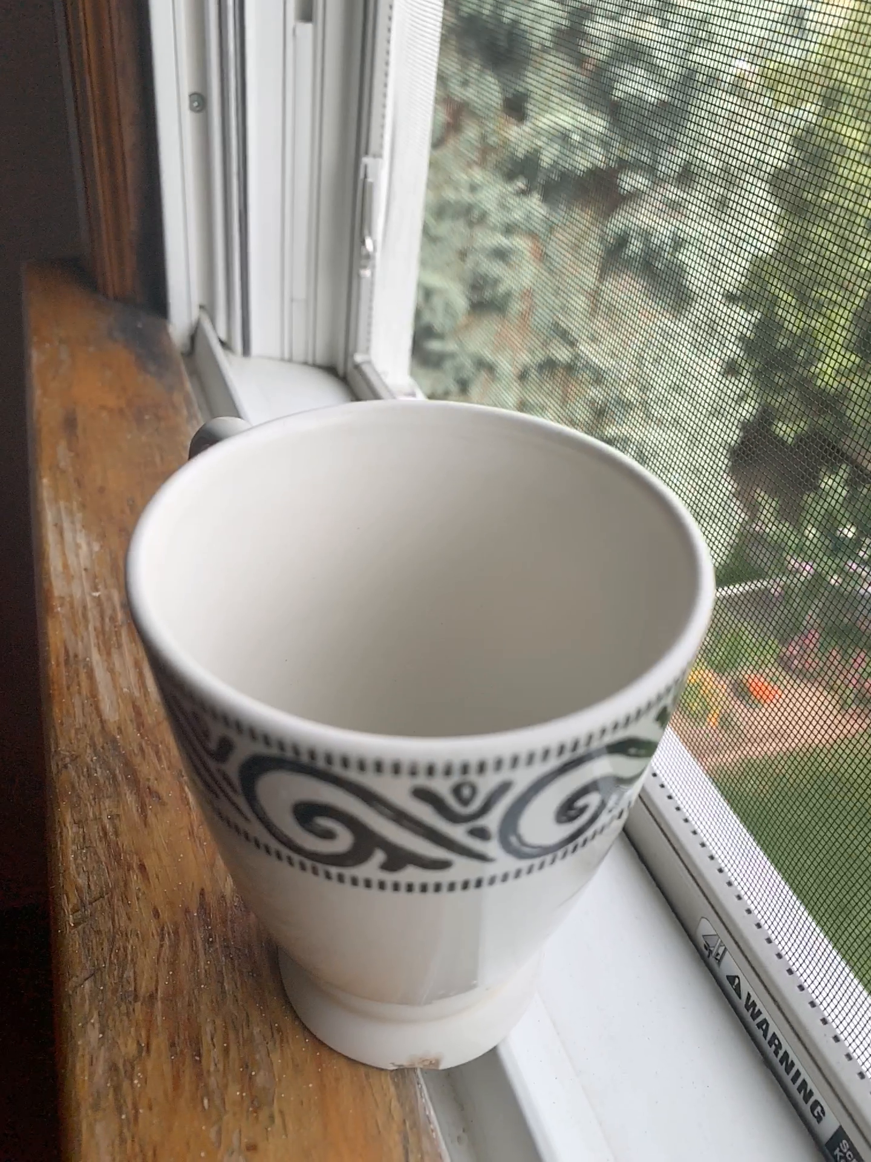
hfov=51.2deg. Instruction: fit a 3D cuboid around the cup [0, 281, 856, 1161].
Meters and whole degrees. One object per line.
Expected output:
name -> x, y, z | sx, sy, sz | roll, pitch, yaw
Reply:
cup -> -0.021, 0.020, 0.161 | 0.080, 0.089, 0.131 | -23, 46, -30
